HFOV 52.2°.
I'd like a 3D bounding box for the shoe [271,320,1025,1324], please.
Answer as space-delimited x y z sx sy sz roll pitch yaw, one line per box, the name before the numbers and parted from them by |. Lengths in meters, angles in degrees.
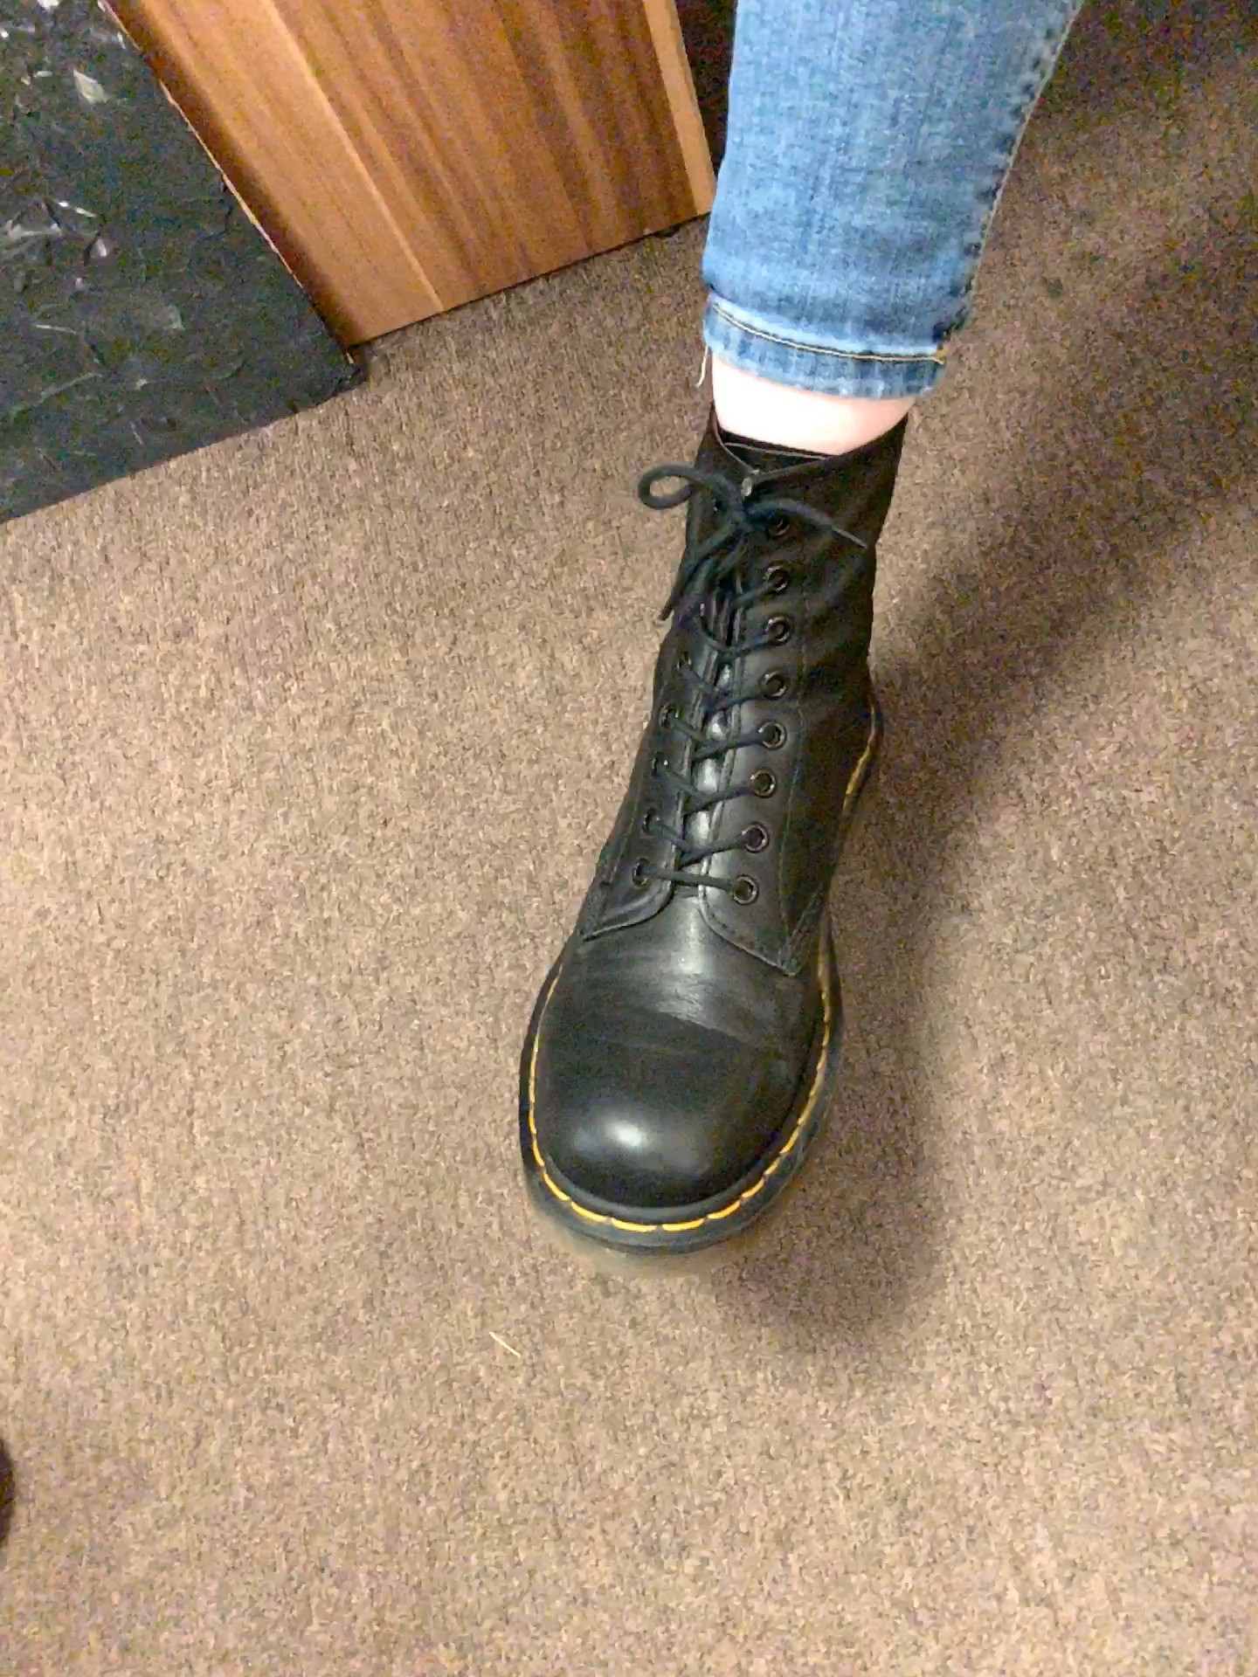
shoe | 0.032 -0.027 0.419 0.120 0.150 0.290 13 49 18
